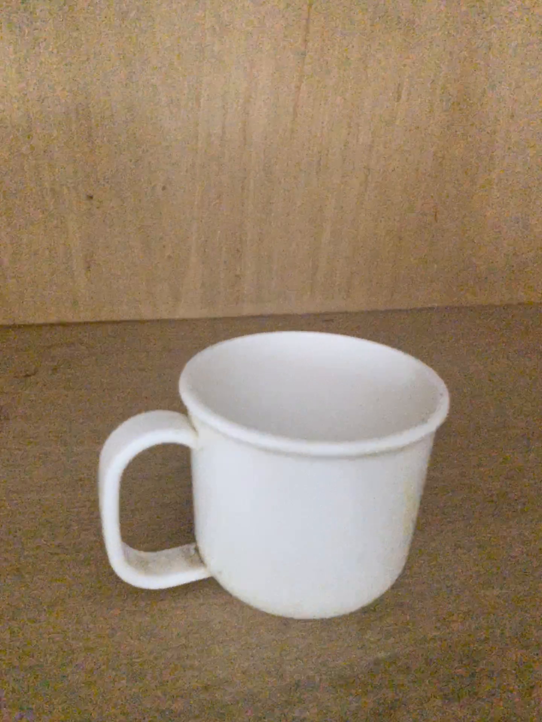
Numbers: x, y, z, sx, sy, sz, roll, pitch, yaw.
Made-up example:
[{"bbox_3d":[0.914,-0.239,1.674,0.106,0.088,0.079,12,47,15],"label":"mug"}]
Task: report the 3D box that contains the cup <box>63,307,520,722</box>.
[{"bbox_3d":[0.000,0.033,0.178,0.110,0.070,0.080,-8,25,-23],"label":"cup"}]
